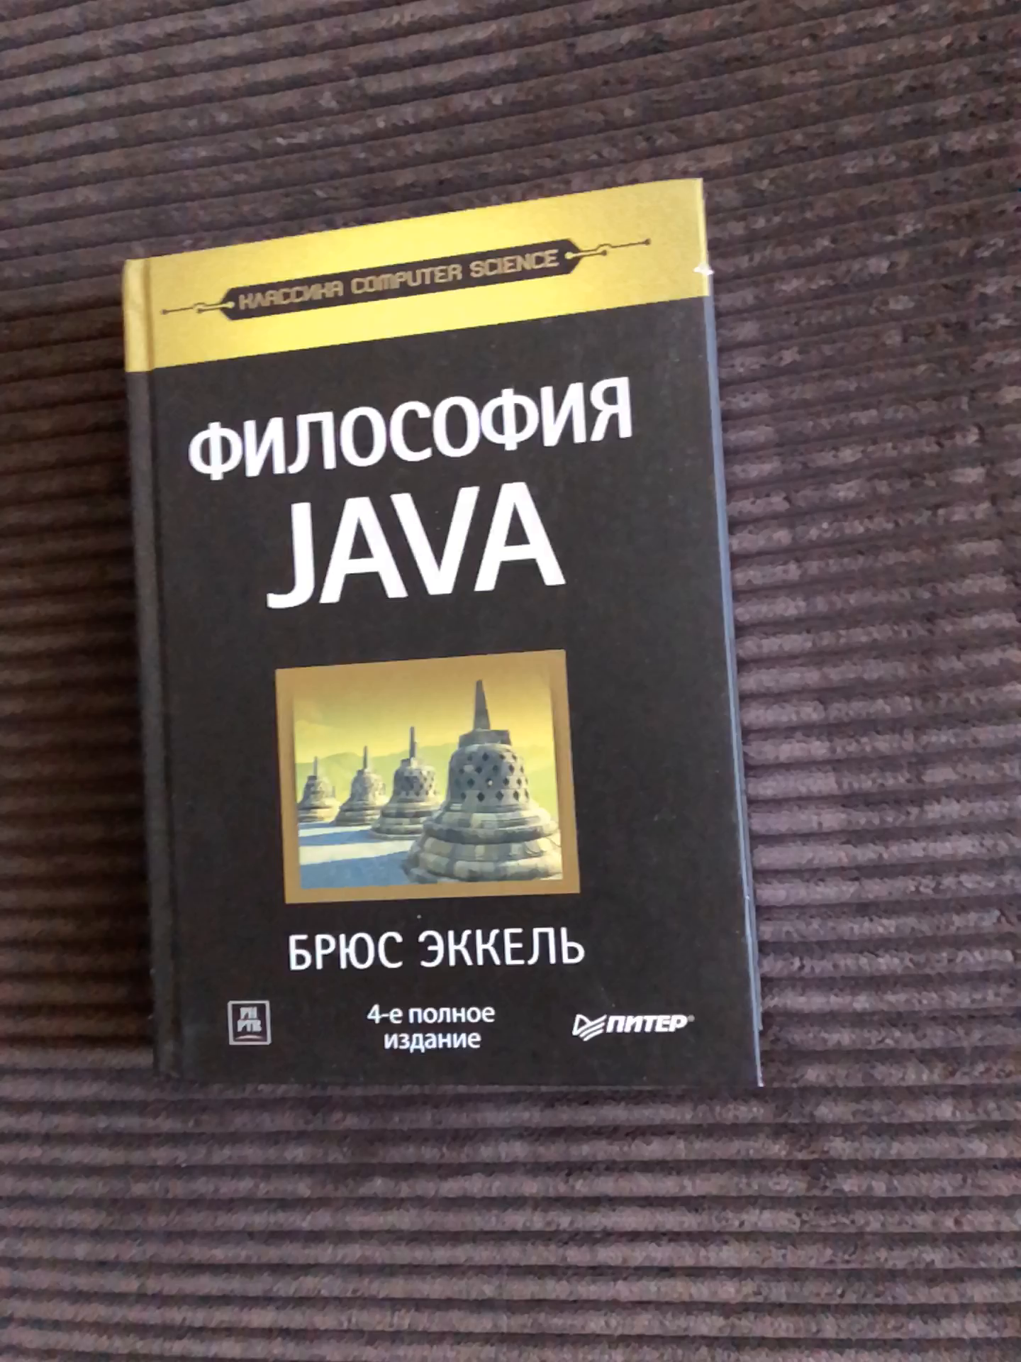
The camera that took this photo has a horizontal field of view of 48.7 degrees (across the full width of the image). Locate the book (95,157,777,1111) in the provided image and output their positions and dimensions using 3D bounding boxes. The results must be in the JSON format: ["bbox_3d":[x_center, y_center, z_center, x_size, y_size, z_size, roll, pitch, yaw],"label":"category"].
[{"bbox_3d":[-0.020,-0.007,0.327,0.171,0.060,0.239,-4,88,11],"label":"book"}]
